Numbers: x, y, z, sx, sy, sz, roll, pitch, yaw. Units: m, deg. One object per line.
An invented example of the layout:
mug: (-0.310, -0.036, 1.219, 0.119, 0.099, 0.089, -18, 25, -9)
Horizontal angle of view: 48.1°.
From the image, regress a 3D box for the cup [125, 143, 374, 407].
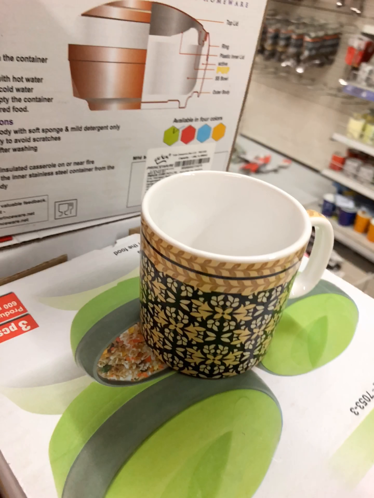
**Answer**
cup: (0.032, 0.006, 0.208, 0.110, 0.089, 0.070, -9, 37, -20)
